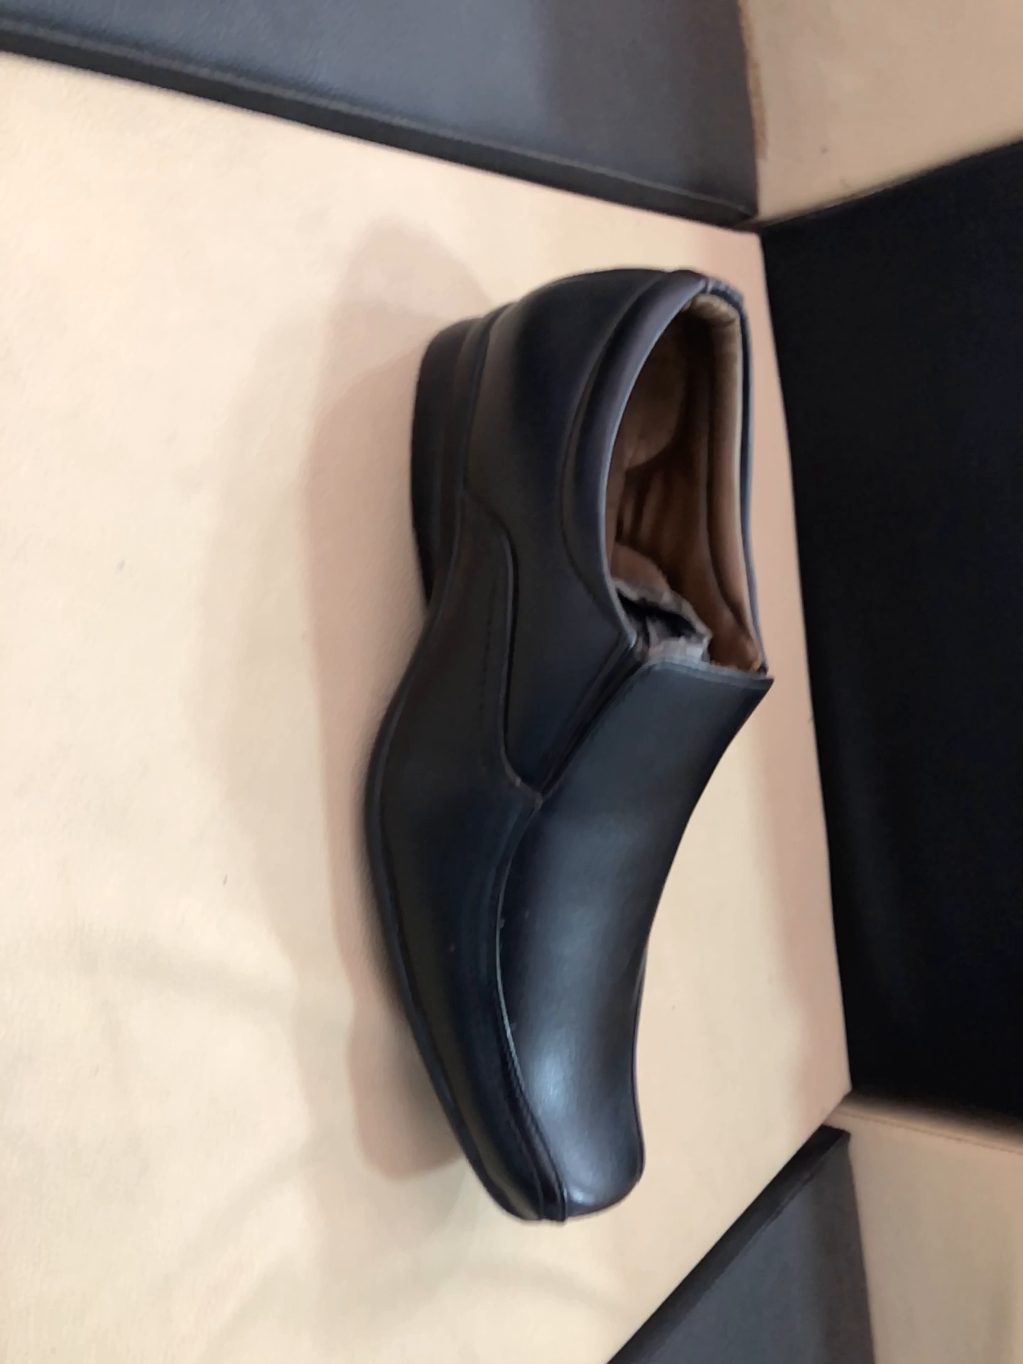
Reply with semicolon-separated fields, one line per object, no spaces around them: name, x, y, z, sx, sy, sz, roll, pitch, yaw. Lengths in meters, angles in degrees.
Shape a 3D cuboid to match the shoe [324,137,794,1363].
shoe;0.017;0.020;0.348;0.091;0.099;0.310;6;84;-50
